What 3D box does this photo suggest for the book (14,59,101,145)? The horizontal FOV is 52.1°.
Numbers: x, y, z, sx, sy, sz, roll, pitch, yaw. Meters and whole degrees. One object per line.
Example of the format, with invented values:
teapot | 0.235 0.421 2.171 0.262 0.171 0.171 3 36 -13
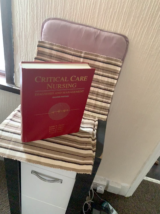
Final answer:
book | -0.086 -0.013 0.570 0.250 0.287 0.060 -7 40 -26
